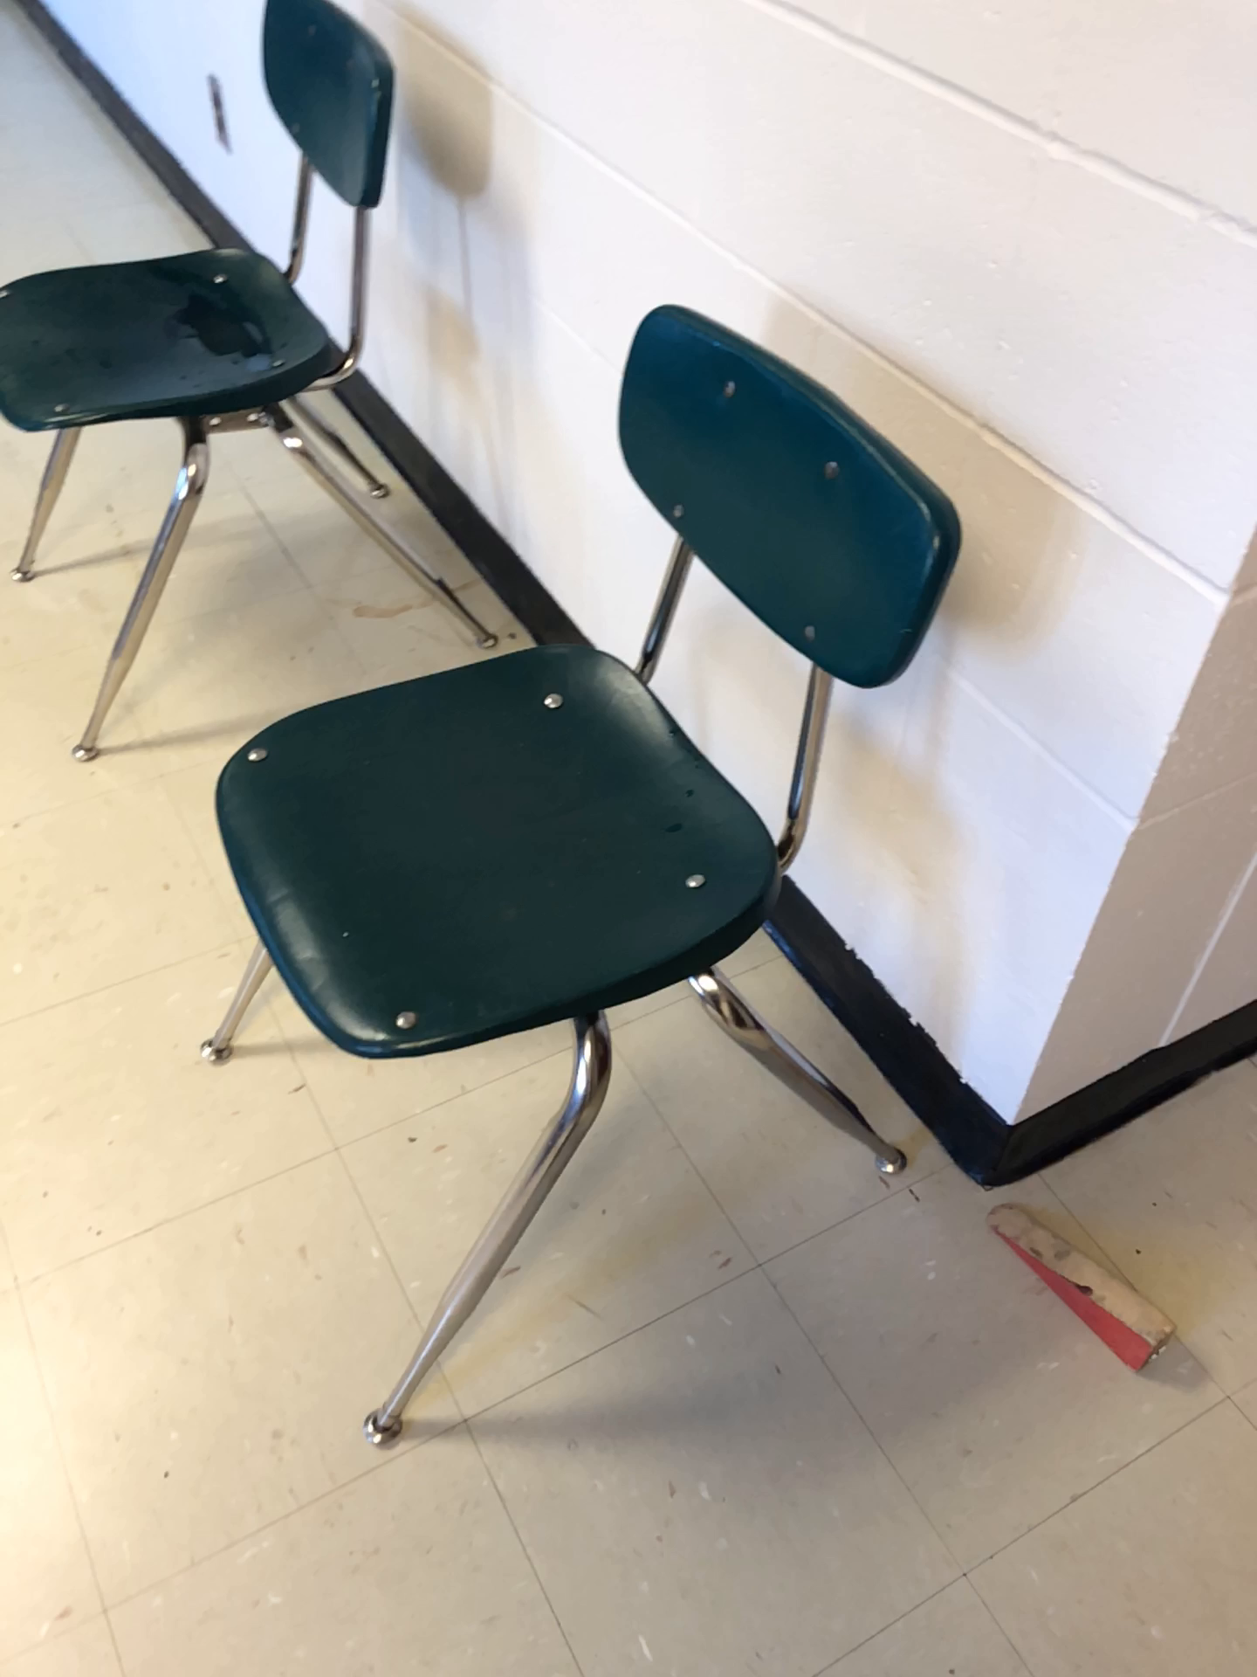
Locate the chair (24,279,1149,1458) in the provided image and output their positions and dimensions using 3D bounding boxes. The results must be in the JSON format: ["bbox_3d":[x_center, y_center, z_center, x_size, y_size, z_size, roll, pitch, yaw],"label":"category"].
[{"bbox_3d":[-0.054,0.017,1.151,0.591,0.695,0.483,-20,48,-22],"label":"chair"}]
